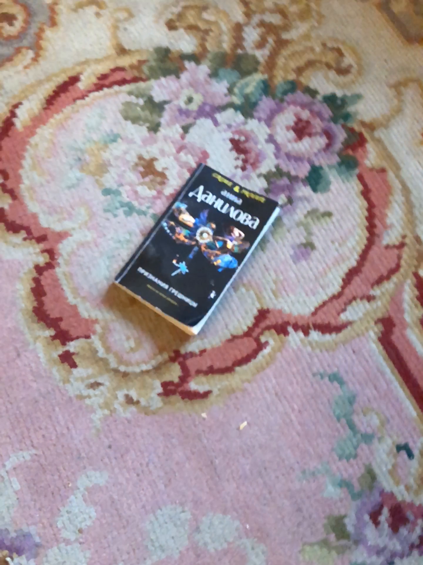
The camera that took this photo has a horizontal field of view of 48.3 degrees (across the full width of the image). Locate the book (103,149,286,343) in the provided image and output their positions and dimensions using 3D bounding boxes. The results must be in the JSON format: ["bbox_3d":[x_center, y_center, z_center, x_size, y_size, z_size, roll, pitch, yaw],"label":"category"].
[{"bbox_3d":[-0.015,-0.039,0.496,0.110,0.050,0.165,33,74,7],"label":"book"}]
